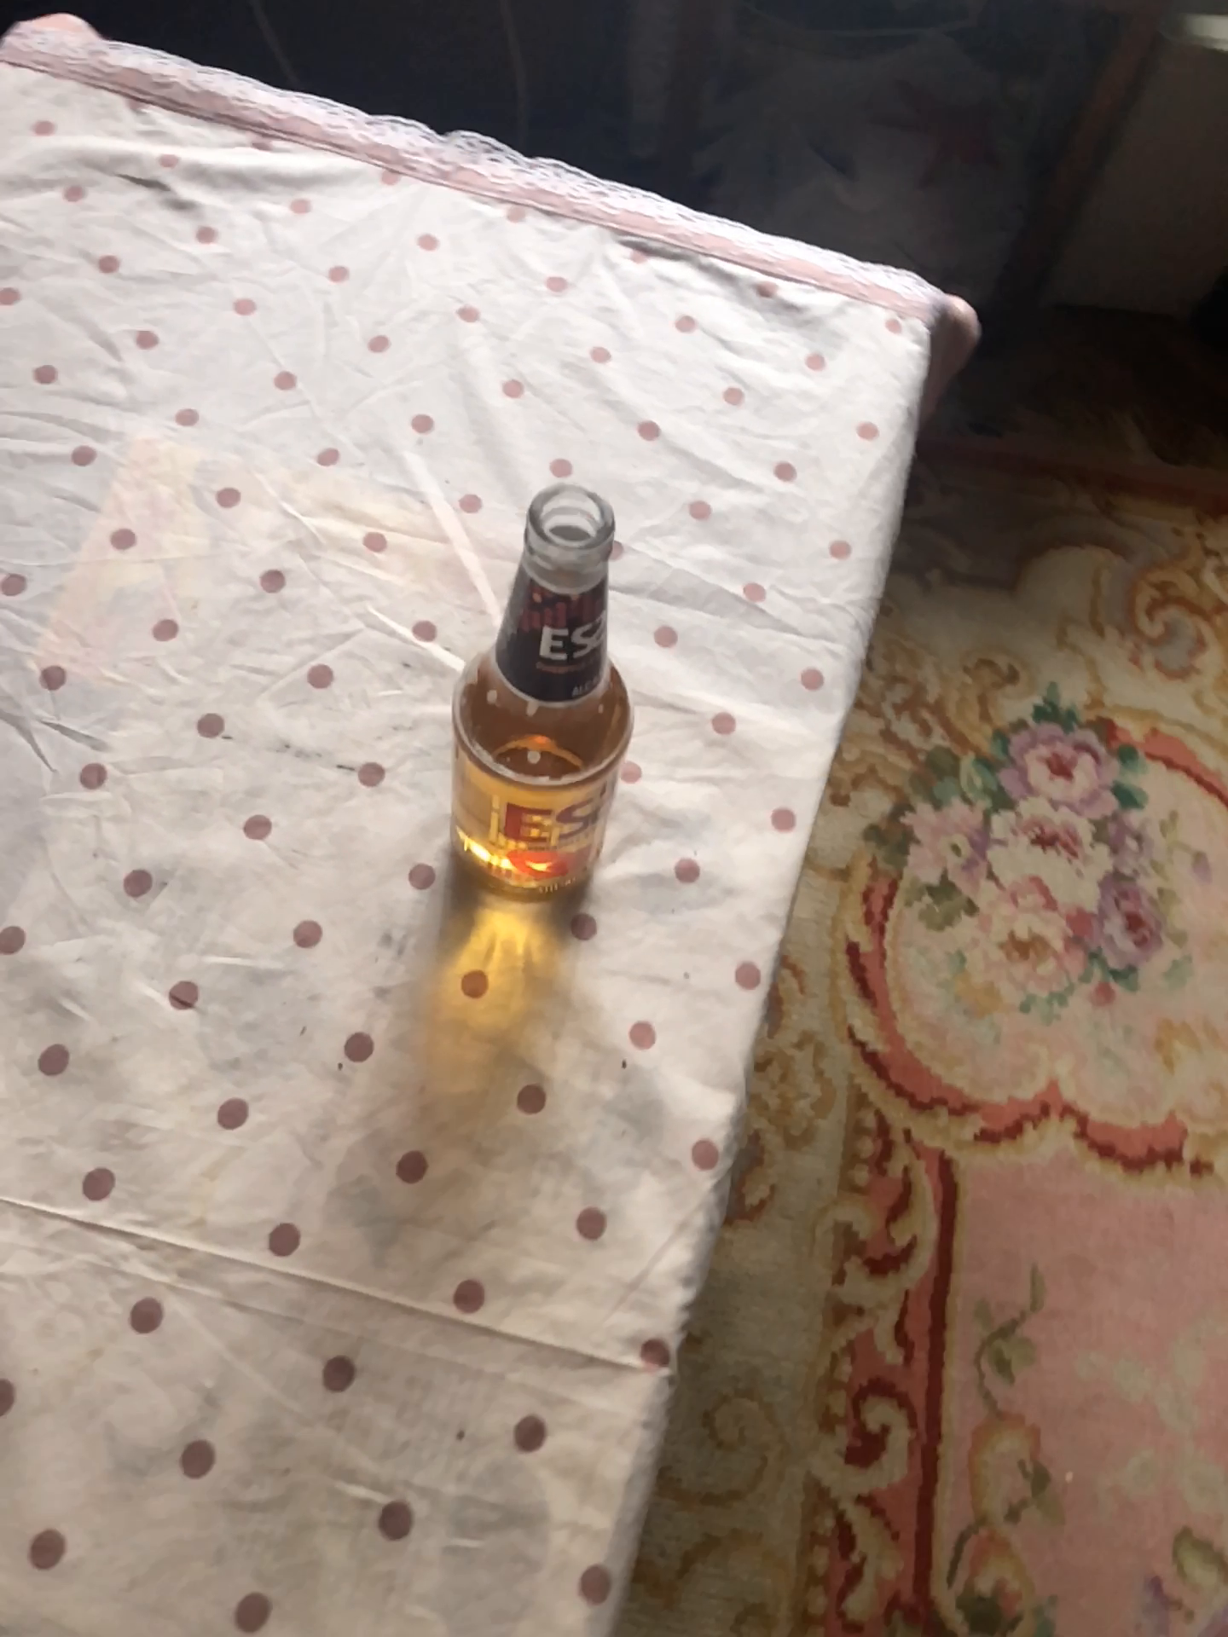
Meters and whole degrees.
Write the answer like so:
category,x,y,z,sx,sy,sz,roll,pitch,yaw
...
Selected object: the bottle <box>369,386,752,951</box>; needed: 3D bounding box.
category,x,y,z,sx,sy,sz,roll,pitch,yaw
bottle,-0.024,-0.040,0.490,0.080,0.209,0.080,2,65,-4
